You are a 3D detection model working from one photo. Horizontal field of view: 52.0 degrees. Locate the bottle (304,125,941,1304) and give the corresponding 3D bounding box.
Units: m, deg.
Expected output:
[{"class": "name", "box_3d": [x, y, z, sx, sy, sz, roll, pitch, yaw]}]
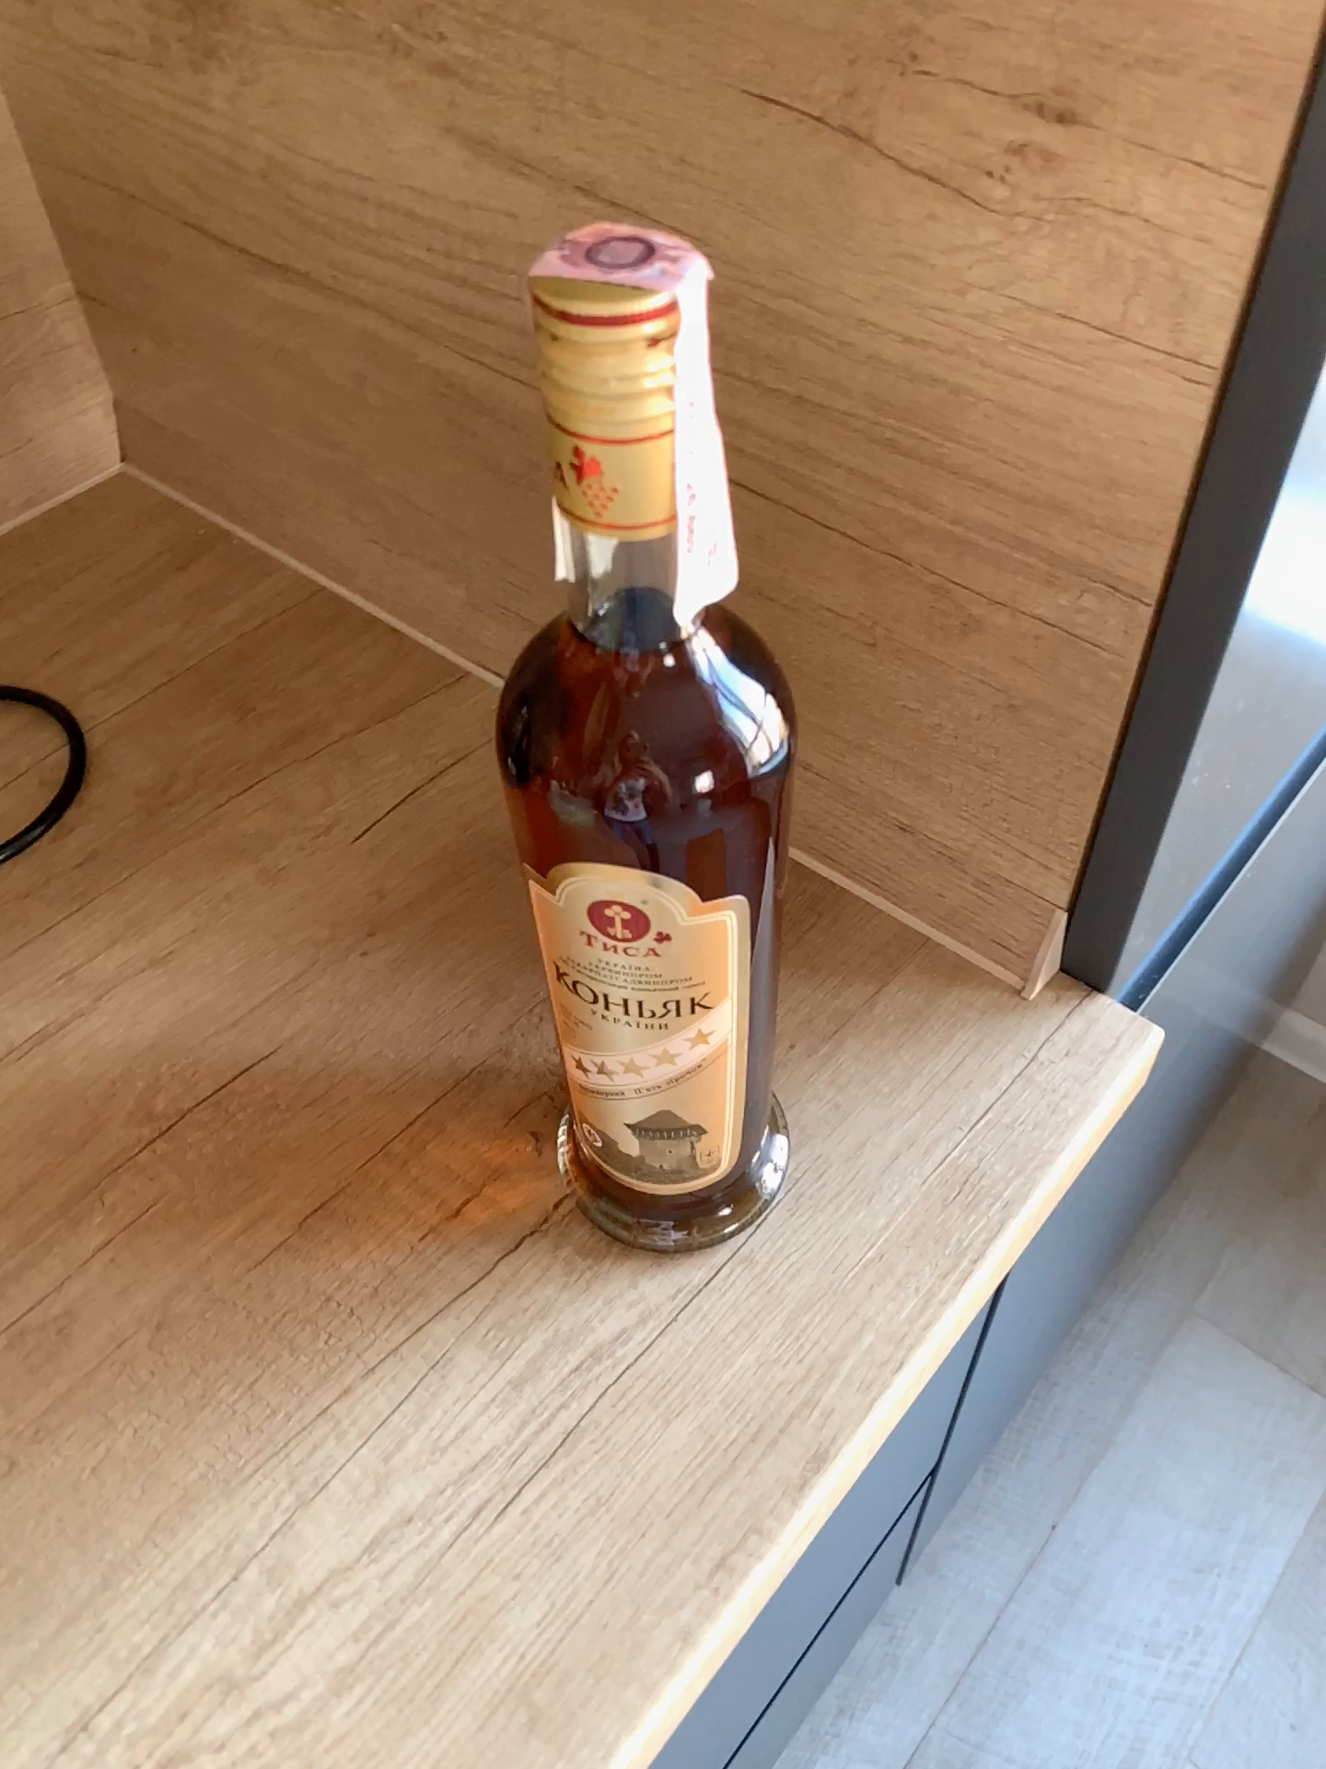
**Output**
[{"class": "bottle", "box_3d": [0.002, -0.006, 0.308, 0.080, 0.279, 0.070, 9, 50, 10]}]
